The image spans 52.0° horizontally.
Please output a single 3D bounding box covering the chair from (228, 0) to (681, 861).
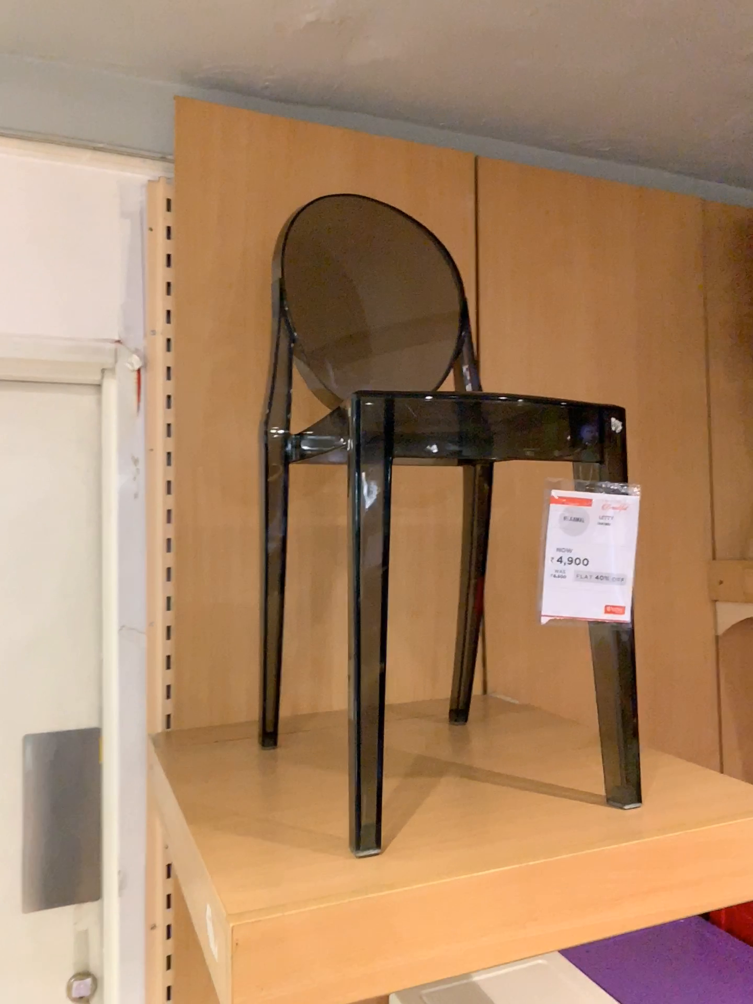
[{"bbox_3d":[0.058,-0.083,1.030,0.400,0.851,0.470,0,-3,-23],"label":"chair"}]
